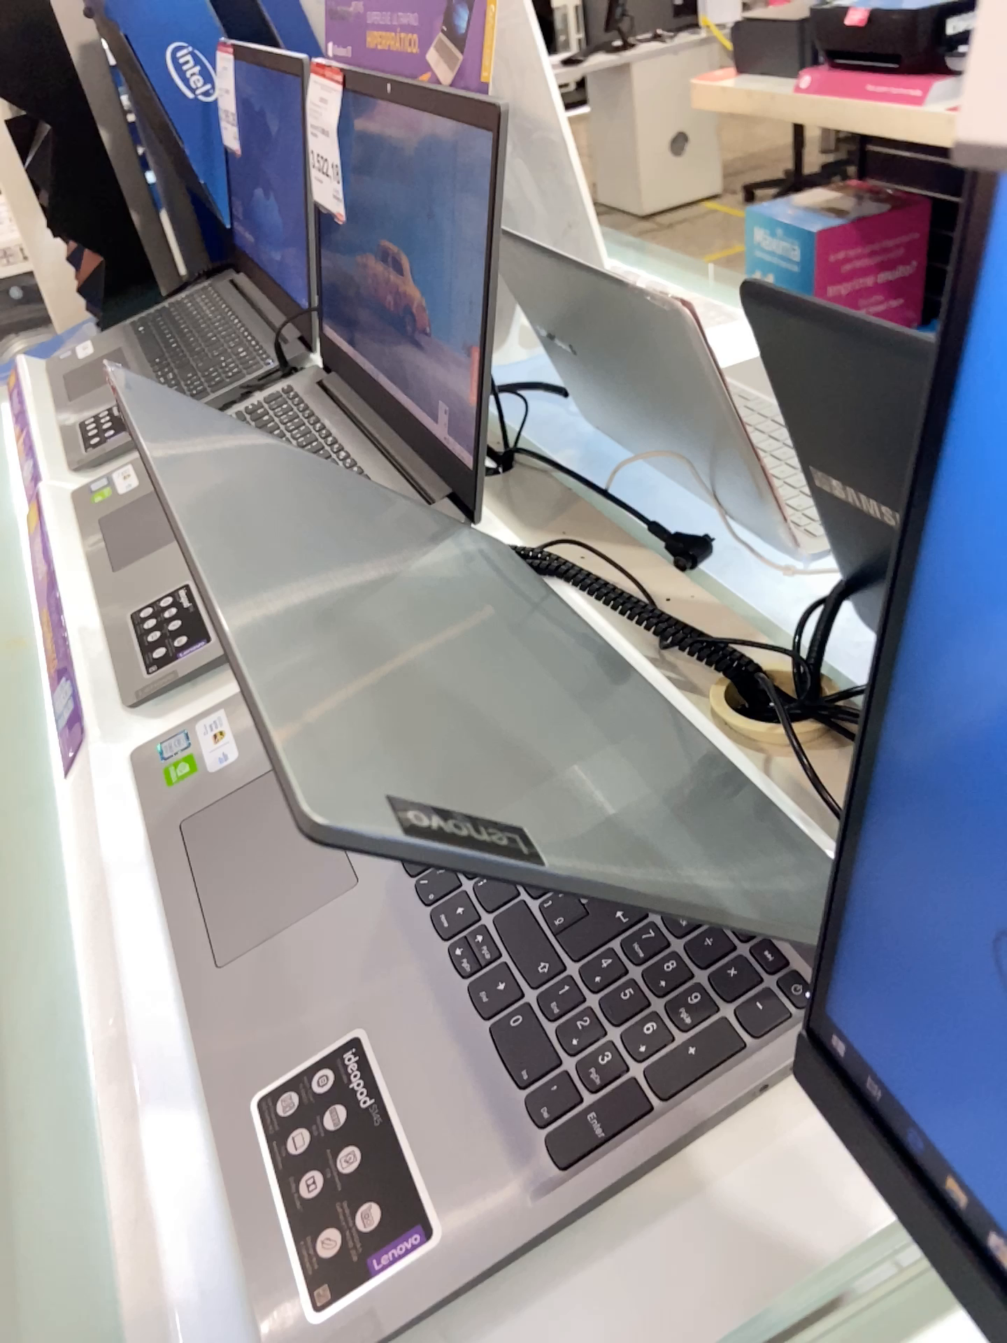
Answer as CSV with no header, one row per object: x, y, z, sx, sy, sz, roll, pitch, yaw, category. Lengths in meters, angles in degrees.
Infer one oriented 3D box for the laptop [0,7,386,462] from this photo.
-0.388,-0.518,1.187,0.386,0.260,0.312,-29,42,-13,laptop

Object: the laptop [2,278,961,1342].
-0.052,0.011,0.424,0.241,0.163,0.361,-28,38,-10,laptop

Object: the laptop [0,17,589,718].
-0.177,-0.249,0.732,0.351,0.224,0.348,-29,41,-12,laptop
